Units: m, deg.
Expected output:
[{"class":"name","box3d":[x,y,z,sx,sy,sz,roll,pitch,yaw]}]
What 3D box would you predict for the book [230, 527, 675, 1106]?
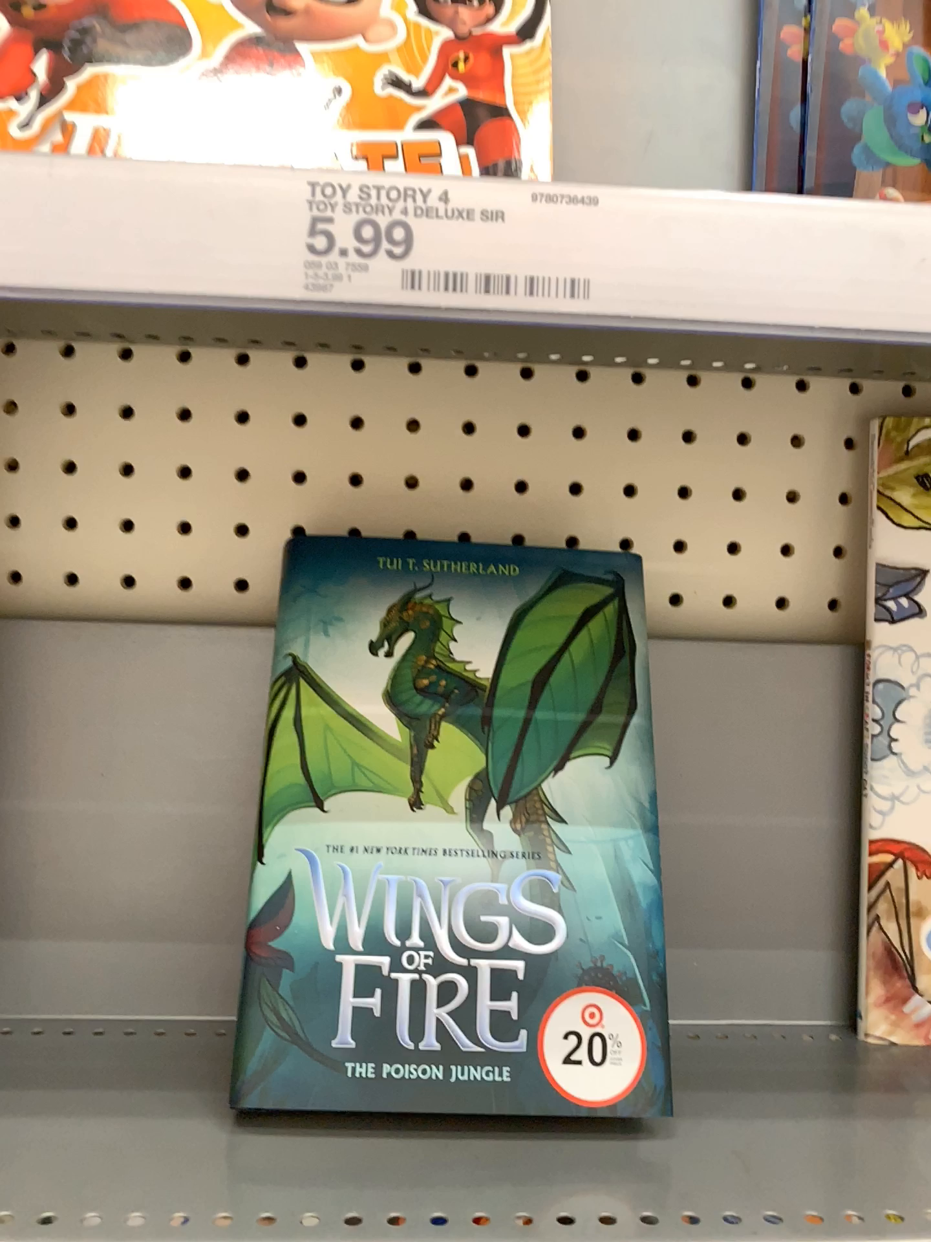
[{"class":"book","box3d":[-0.002,0.069,0.383,0.150,0.216,0.036,2,-23,-2]}]
